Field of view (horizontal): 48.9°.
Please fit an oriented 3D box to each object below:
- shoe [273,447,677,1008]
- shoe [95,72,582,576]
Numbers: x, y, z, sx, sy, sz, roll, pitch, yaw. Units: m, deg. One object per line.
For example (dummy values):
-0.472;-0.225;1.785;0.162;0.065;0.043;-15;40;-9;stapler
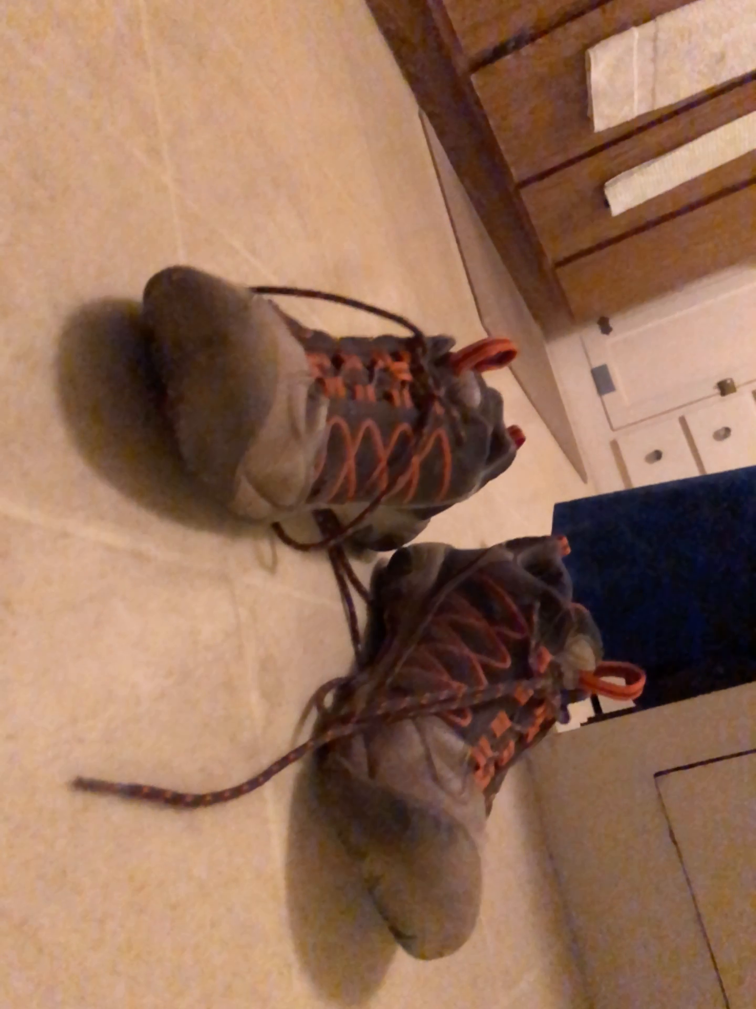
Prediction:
0.062;0.097;0.460;0.127;0.121;0.283;63;20;-20;shoe
0.006;-0.058;0.448;0.293;0.121;0.127;26;46;-64;shoe
